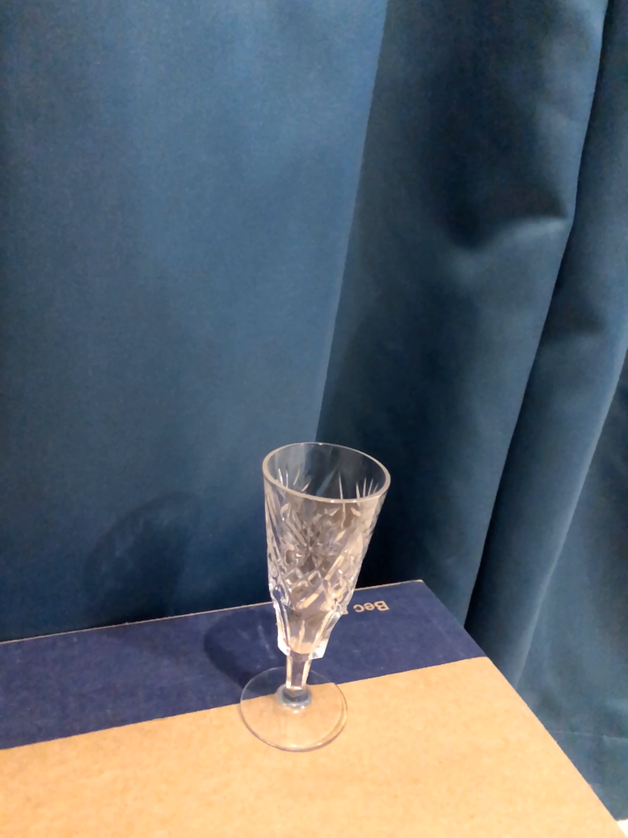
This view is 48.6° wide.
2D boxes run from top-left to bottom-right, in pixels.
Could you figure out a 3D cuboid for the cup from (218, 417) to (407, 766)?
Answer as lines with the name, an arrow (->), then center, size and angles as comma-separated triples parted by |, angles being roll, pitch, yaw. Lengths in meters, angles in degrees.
cup -> -0.002, 0.067, 0.269 | 0.053, 0.119, 0.051 | 6, 24, -3
